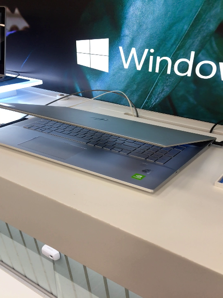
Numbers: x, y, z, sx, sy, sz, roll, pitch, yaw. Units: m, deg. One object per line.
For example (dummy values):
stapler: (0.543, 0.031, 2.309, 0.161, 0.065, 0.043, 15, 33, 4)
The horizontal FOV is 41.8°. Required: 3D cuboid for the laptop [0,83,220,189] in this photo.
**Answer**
laptop: (-0.024, -0.057, 0.651, 0.418, 0.069, 0.229, 17, 34, 29)
